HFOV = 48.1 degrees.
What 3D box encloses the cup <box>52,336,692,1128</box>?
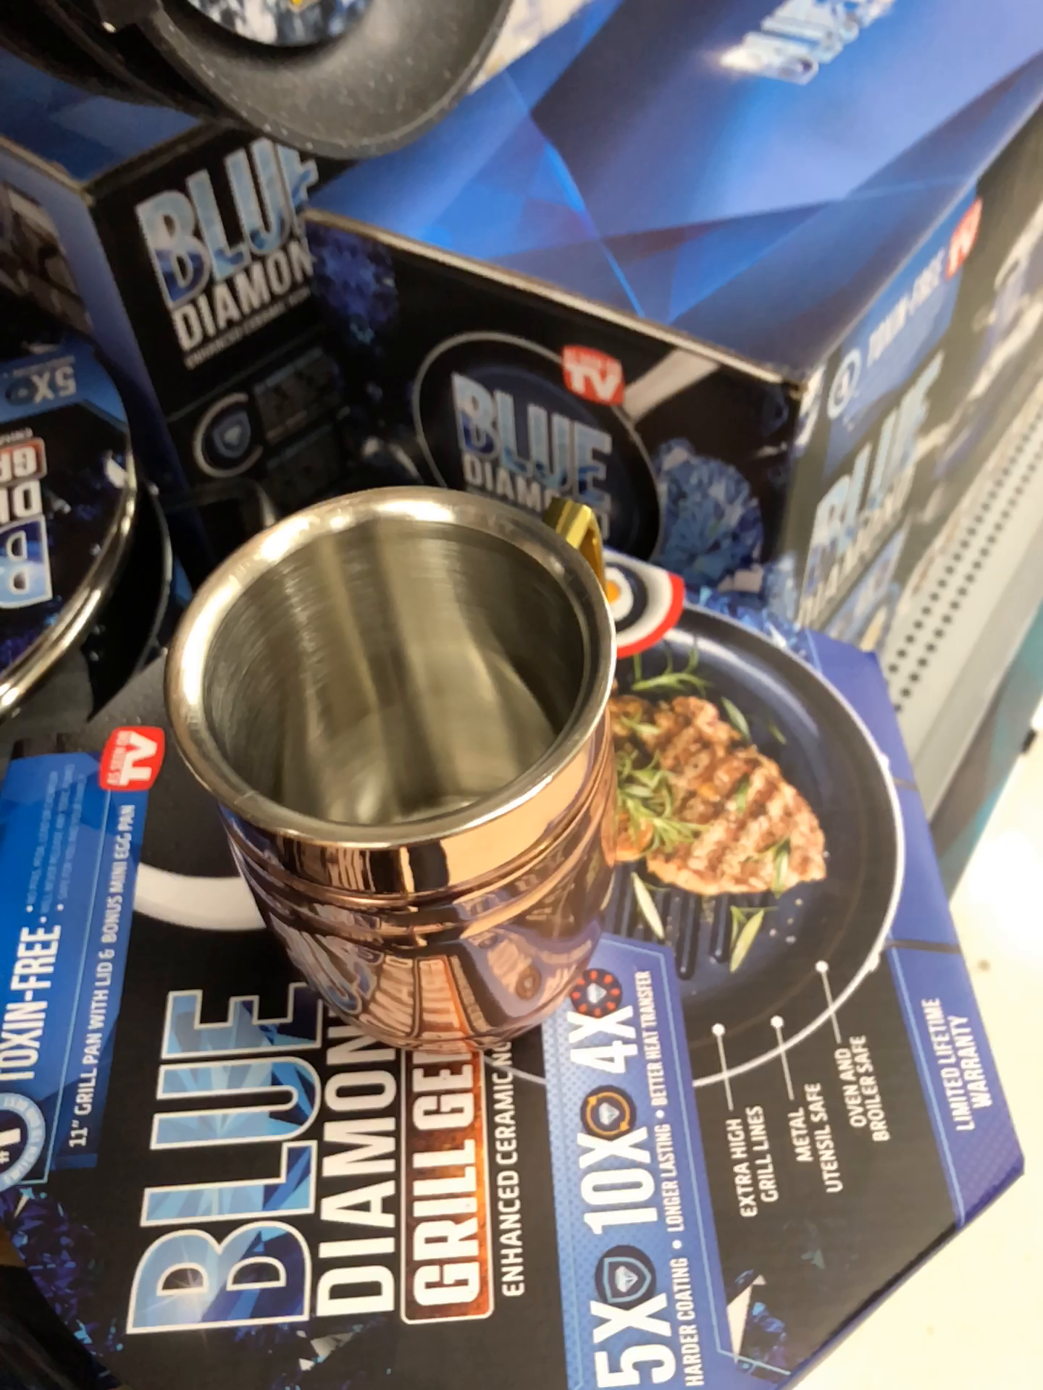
[{"bbox_3d":[-0.021,0.011,0.284,0.086,0.126,0.127,13,55,12],"label":"cup"}]
